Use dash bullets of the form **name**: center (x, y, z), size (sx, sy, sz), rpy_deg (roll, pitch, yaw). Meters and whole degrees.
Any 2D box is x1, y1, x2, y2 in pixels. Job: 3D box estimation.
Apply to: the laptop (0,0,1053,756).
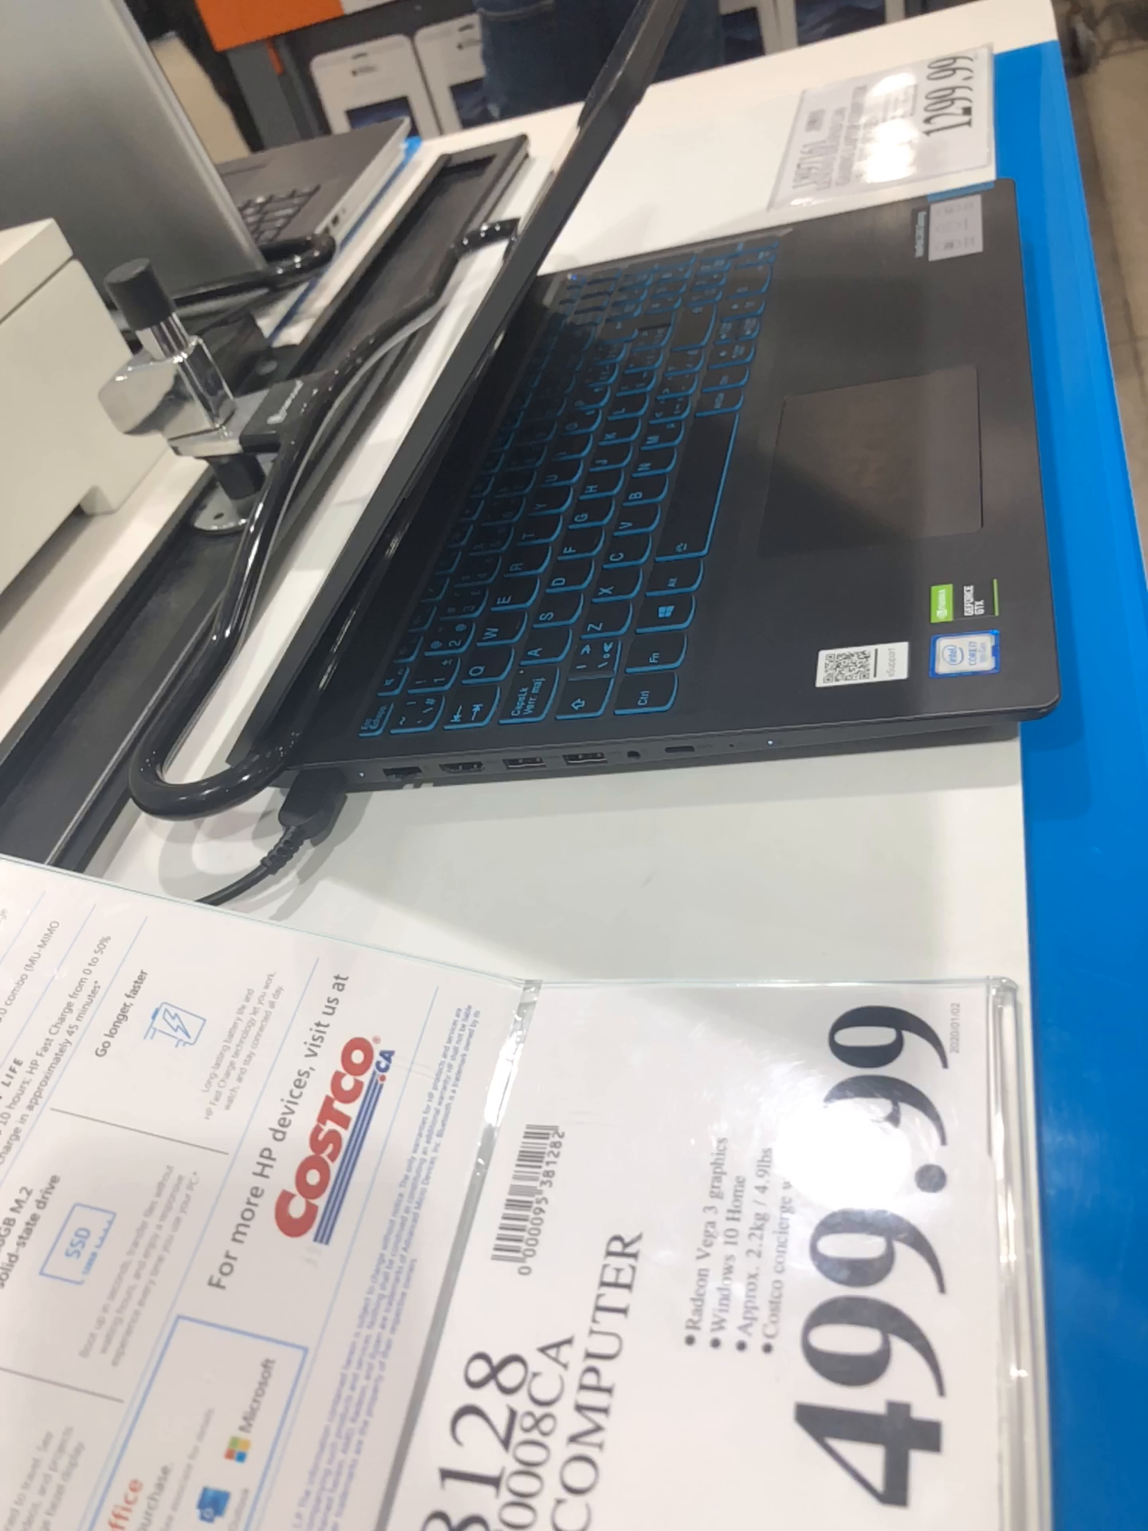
- **laptop**: center (0.021, -0.191, 0.433), size (0.240, 0.170, 0.346), rpy_deg (-4, 43, 20)
